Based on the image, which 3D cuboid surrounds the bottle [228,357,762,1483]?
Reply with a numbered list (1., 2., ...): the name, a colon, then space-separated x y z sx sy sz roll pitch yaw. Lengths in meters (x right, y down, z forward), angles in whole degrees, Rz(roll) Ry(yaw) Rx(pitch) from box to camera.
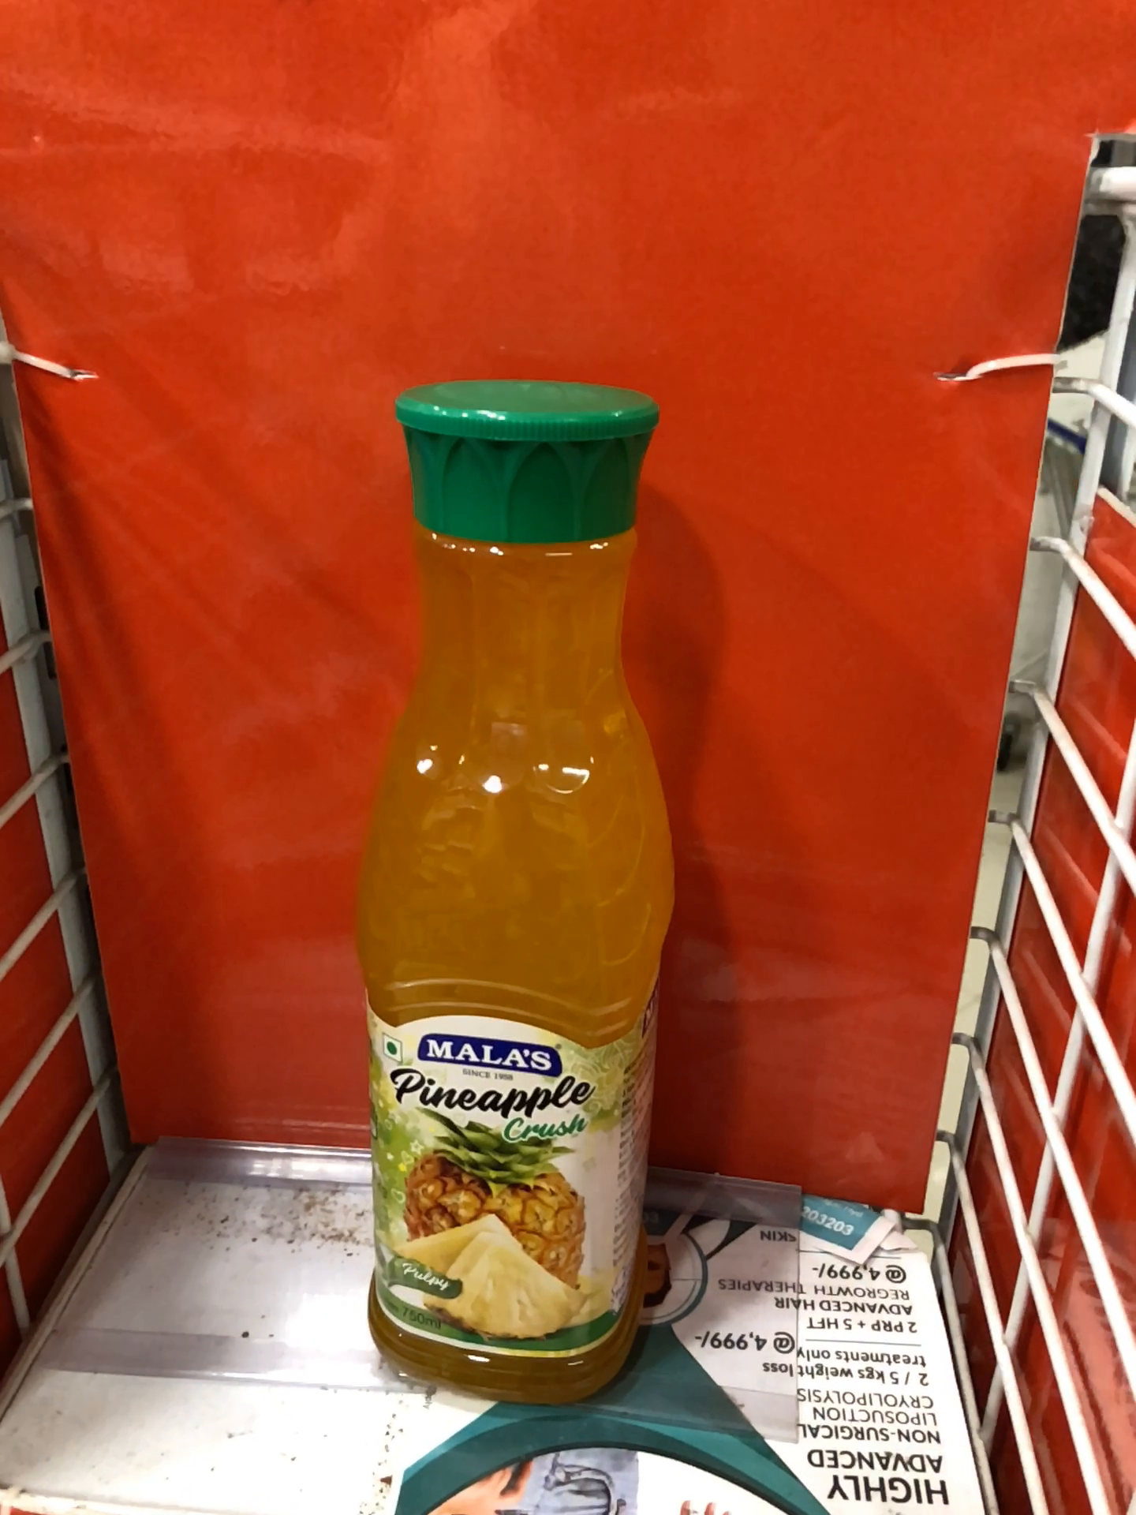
1. bottle: -0.010 0.046 0.299 0.090 0.258 0.070 5 25 9
